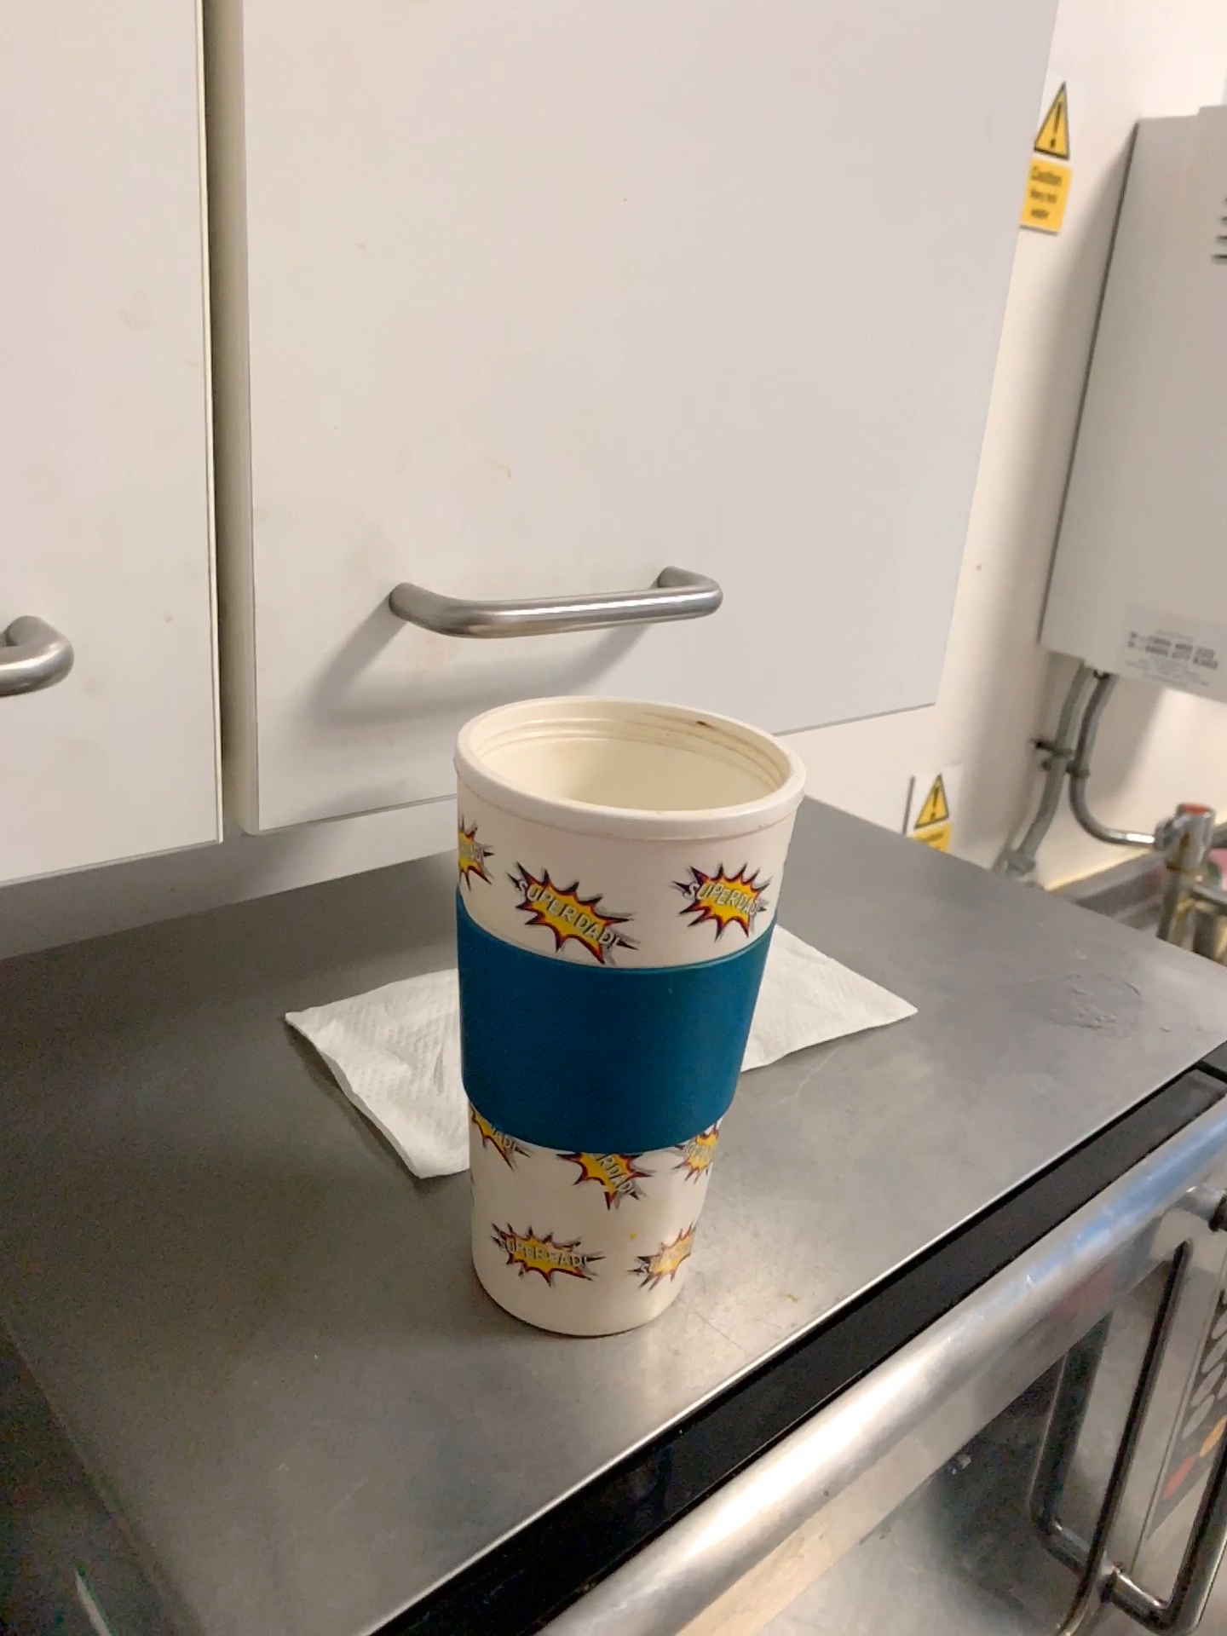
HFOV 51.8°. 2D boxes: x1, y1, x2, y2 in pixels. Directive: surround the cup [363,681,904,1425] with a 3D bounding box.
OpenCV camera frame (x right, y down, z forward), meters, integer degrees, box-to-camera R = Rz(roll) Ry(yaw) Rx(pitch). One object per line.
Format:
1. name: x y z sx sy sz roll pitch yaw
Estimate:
1. cup: 0.000 0.051 0.338 0.093 0.146 0.097 4 20 -1
